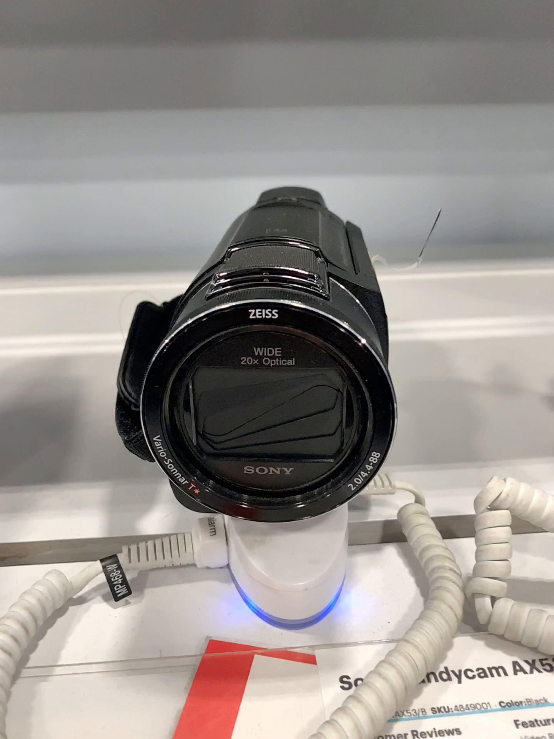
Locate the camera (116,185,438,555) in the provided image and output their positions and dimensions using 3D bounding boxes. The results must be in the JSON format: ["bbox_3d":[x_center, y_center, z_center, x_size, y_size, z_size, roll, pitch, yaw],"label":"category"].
[{"bbox_3d":[0.004,-0.017,0.210,0.070,0.071,0.151,2,26,3],"label":"camera"}]
